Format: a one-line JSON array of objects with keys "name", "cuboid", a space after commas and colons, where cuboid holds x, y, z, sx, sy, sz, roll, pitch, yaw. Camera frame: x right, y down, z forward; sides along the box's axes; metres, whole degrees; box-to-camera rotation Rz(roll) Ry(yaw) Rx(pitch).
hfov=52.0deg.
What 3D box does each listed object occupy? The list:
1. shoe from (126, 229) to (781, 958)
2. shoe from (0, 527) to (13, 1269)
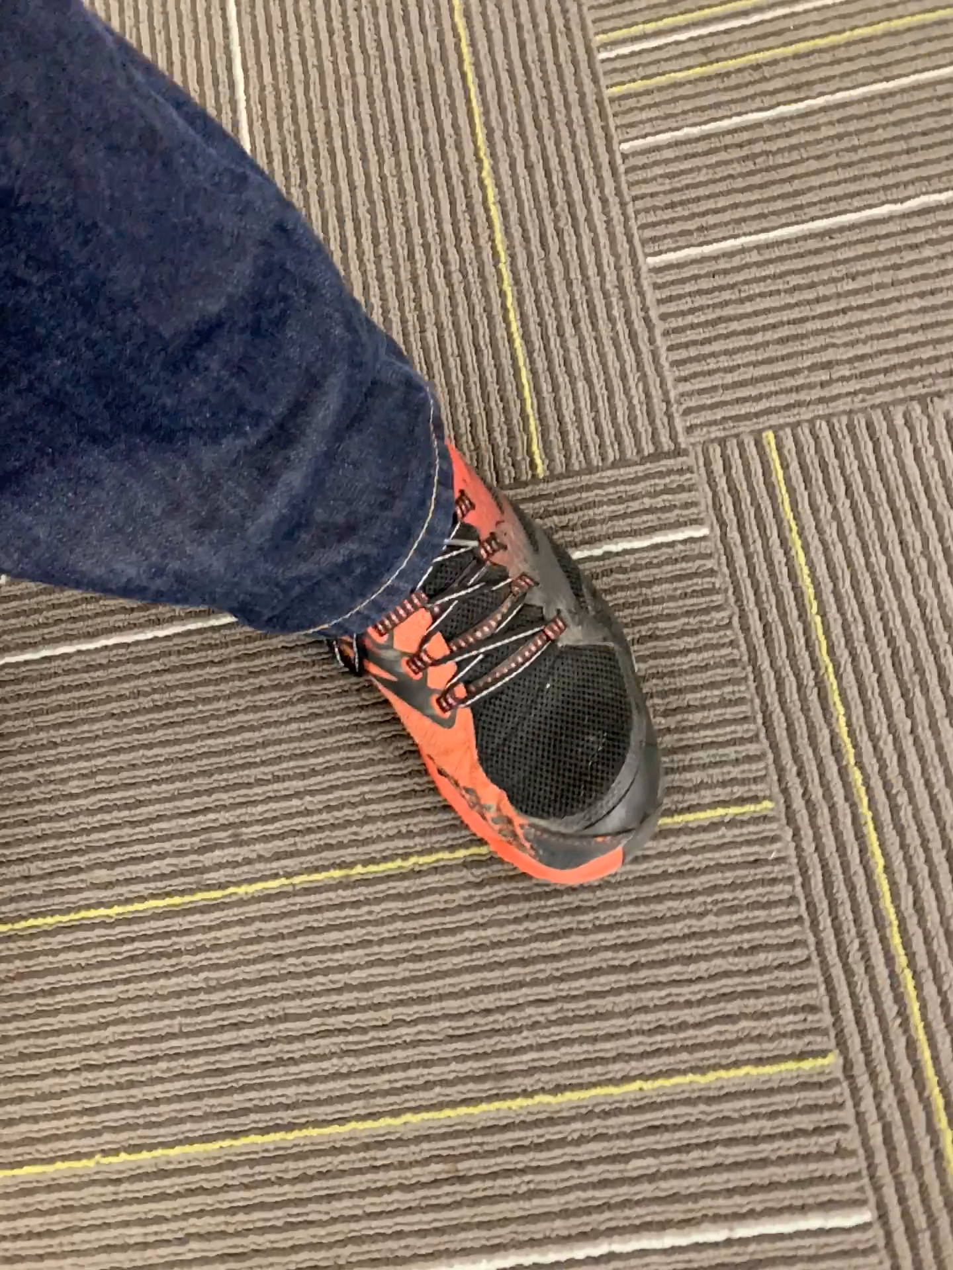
[{"name": "shoe", "cuboid": [-0.016, -0.021, 0.458, 0.130, 0.100, 0.300, -36, 75, -2]}, {"name": "shoe", "cuboid": [-0.358, 0.128, 0.486, 0.120, 0.120, 0.320, -22, 75, 2]}]
